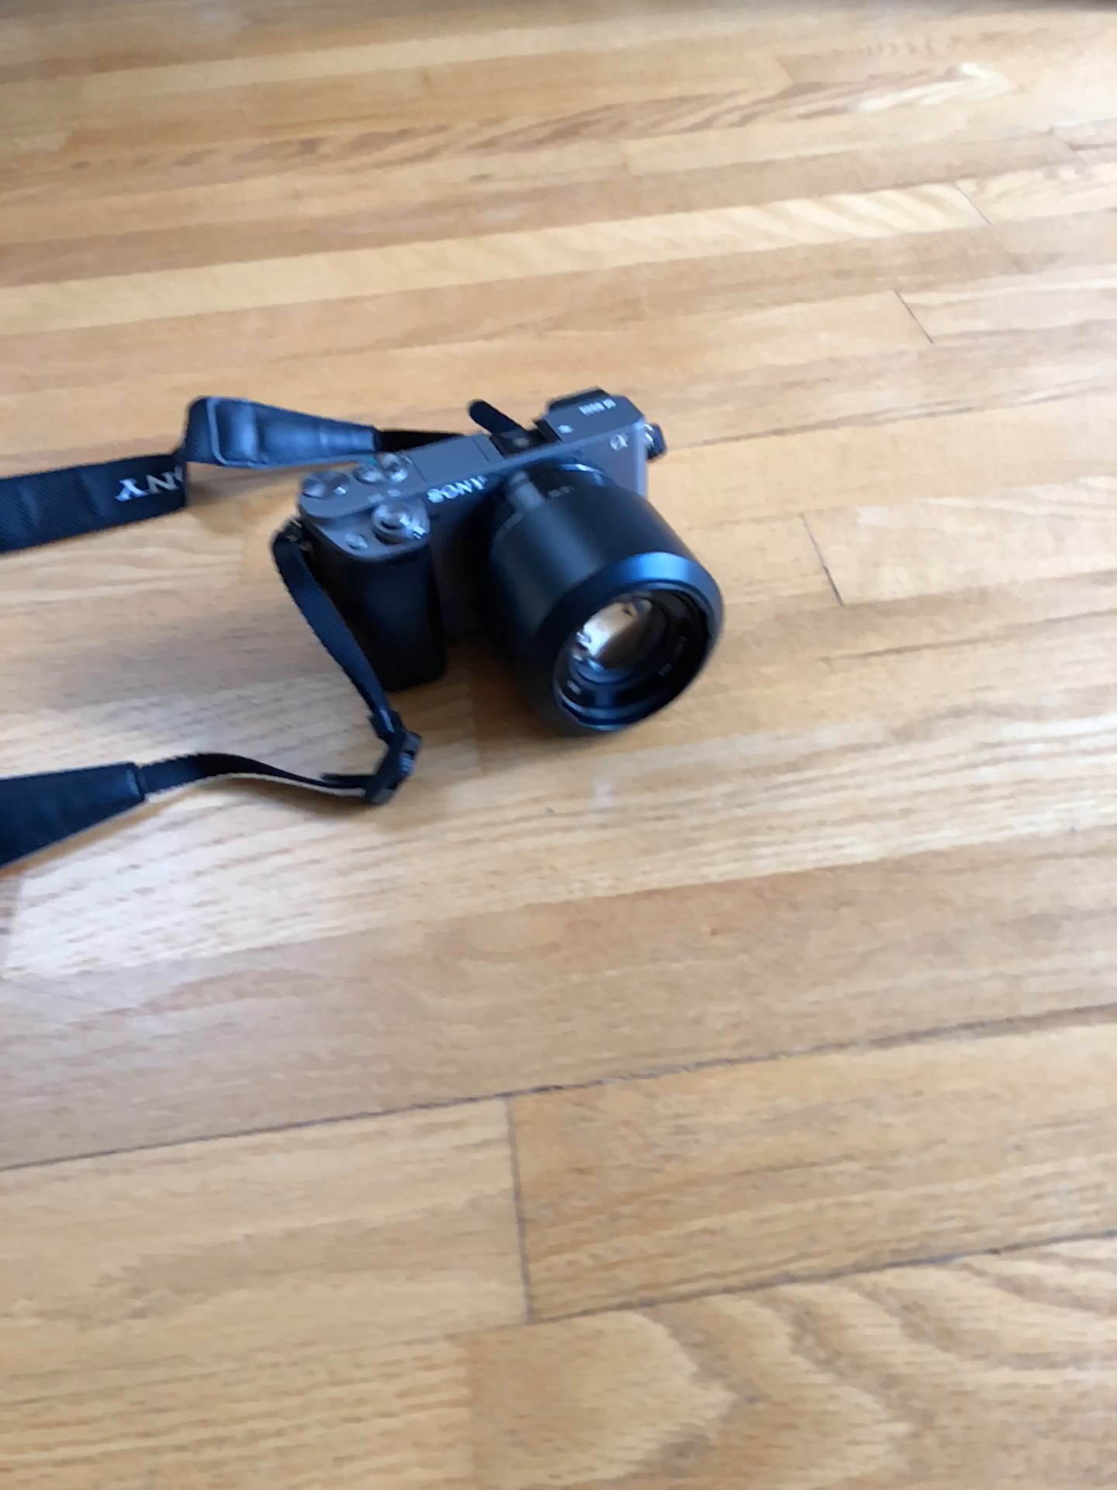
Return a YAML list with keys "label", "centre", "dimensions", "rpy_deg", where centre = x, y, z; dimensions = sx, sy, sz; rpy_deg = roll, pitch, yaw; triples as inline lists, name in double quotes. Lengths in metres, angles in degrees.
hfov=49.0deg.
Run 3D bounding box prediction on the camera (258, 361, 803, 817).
- label: "camera"
  centre: [-0.011, -0.058, 0.407]
  dimensions: [0.140, 0.060, 0.110]
  rpy_deg: [-20, 48, -14]
